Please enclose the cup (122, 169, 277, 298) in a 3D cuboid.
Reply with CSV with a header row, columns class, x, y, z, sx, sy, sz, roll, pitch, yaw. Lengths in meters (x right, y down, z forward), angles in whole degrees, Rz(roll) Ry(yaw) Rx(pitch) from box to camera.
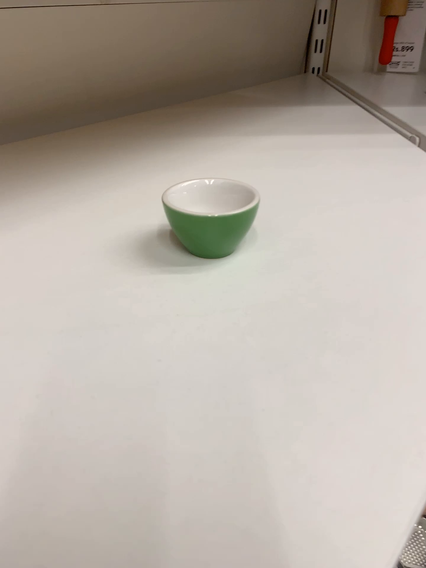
class,x,y,z,sx,sy,sz,roll,pitch,yaw
cup,-0.007,-0.035,0.267,0.060,0.040,0.070,25,41,32
